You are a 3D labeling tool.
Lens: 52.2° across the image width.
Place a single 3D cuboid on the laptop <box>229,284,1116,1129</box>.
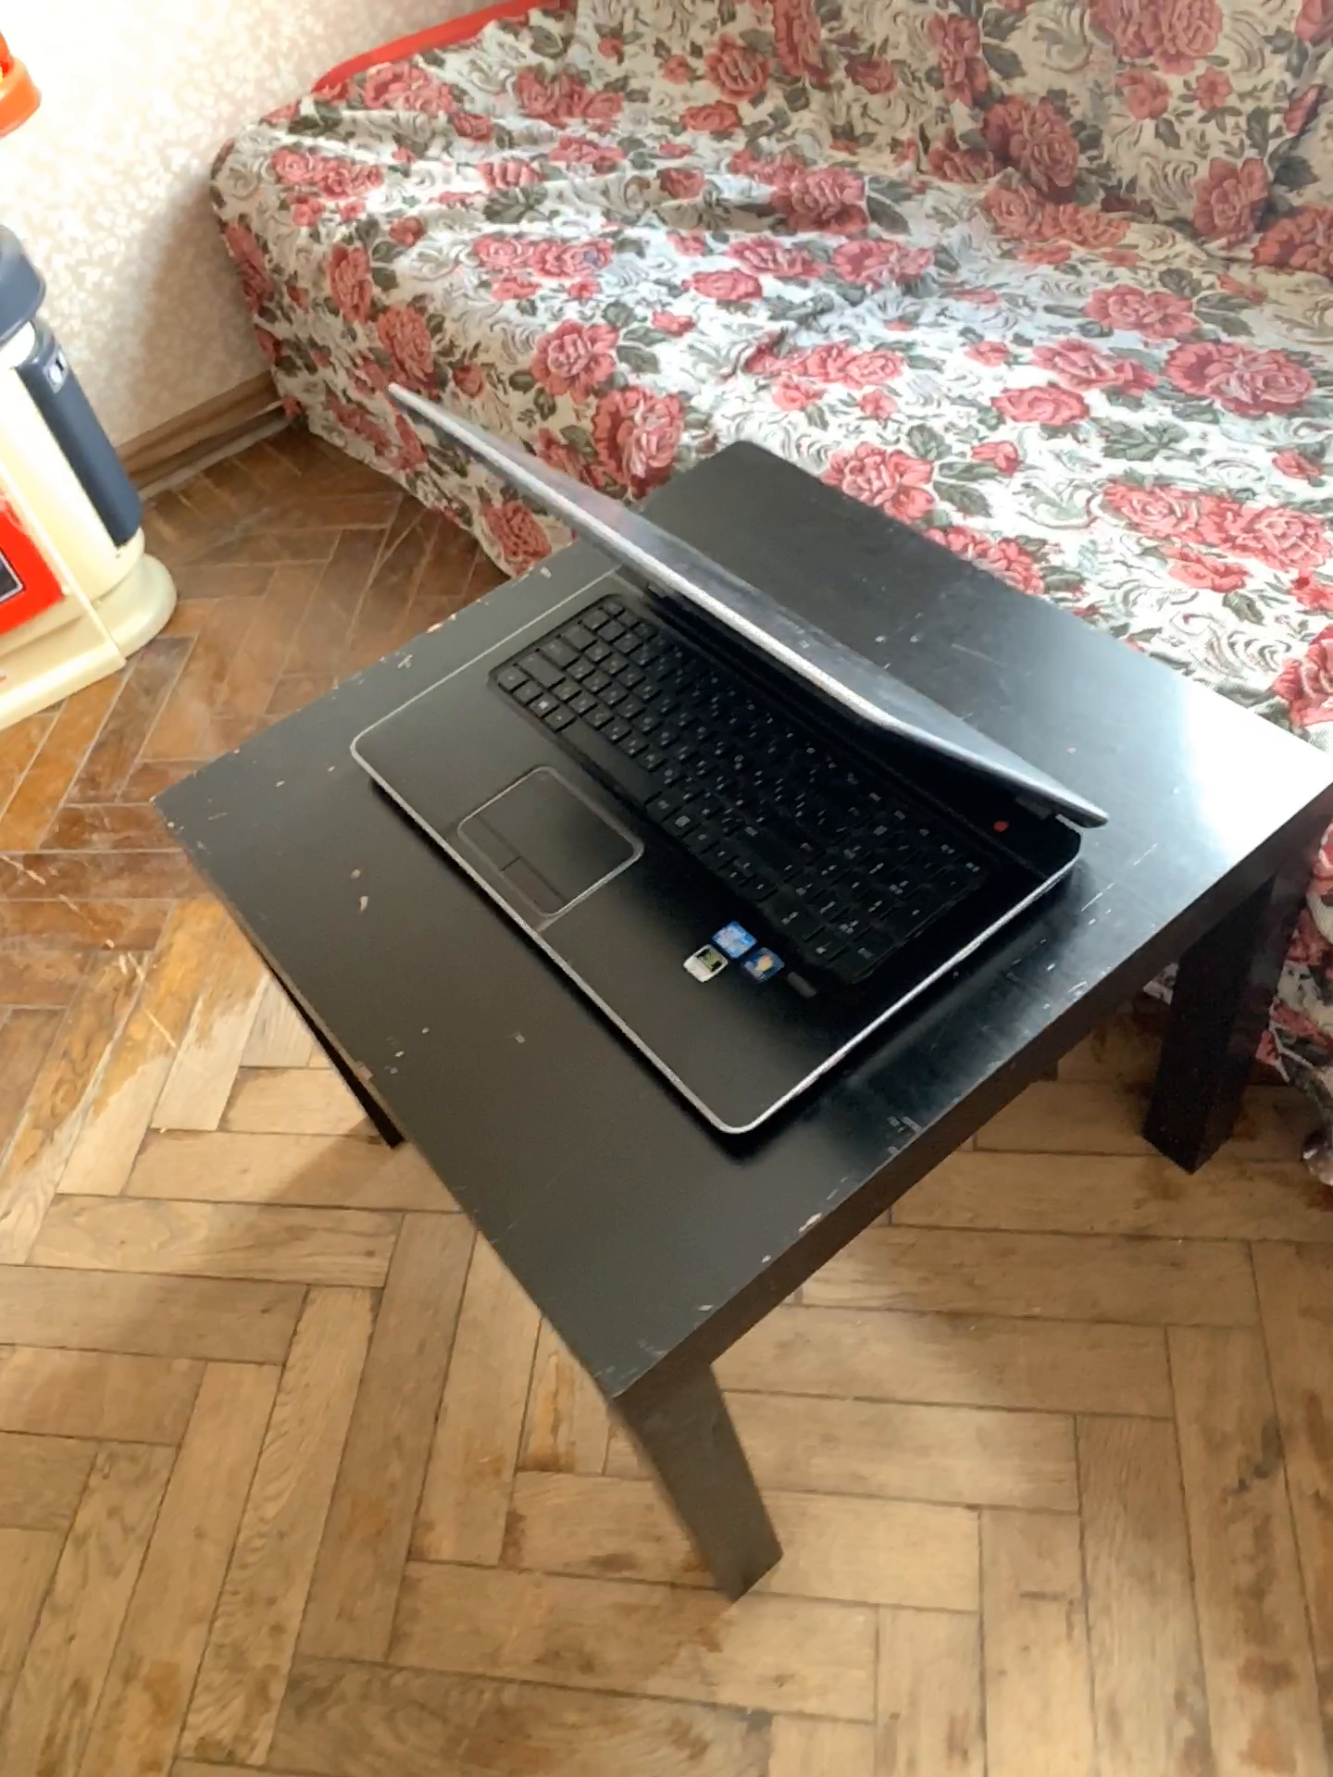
[{"bbox_3d":[-0.008,-0.126,0.763,0.257,0.201,0.406,-36,53,-17],"label":"laptop"}]
